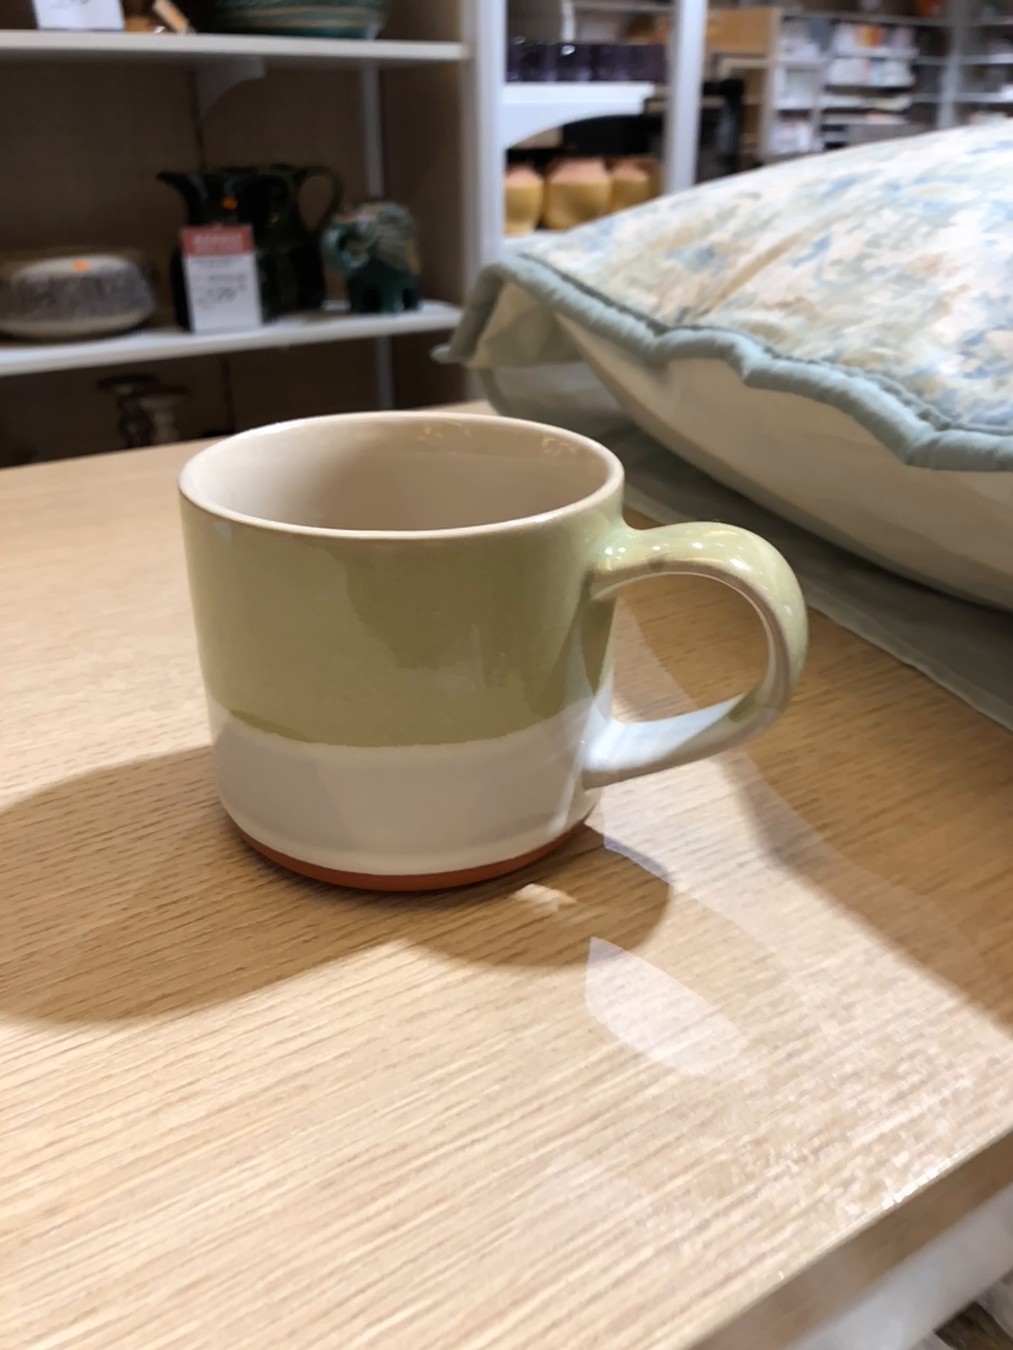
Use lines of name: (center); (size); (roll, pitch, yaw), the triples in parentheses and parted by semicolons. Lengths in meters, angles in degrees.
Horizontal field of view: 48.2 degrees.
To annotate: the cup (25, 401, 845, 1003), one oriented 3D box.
cup: (-0.005, -0.005, 0.246); (0.140, 0.079, 0.101); (6, 27, 12)
